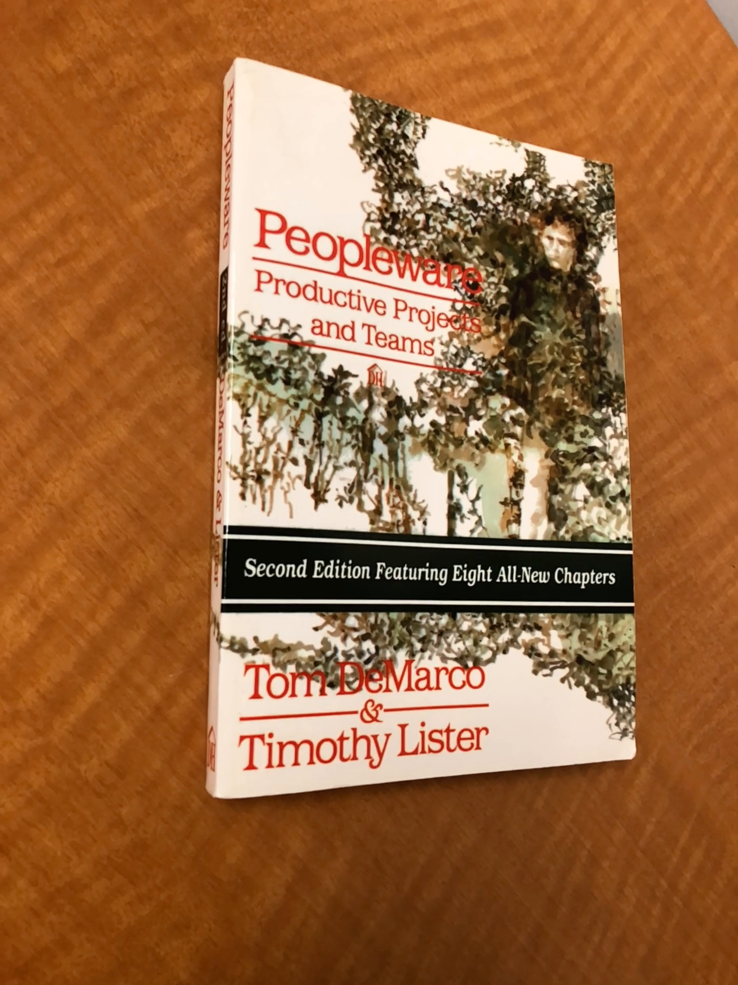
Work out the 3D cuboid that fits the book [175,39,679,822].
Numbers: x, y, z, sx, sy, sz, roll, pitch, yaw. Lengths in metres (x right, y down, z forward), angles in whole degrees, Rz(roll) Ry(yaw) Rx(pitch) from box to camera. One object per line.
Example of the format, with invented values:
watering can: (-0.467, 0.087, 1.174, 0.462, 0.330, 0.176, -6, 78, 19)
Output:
book: (0.022, -0.017, 0.281, 0.160, 0.050, 0.220, 4, 81, -26)
